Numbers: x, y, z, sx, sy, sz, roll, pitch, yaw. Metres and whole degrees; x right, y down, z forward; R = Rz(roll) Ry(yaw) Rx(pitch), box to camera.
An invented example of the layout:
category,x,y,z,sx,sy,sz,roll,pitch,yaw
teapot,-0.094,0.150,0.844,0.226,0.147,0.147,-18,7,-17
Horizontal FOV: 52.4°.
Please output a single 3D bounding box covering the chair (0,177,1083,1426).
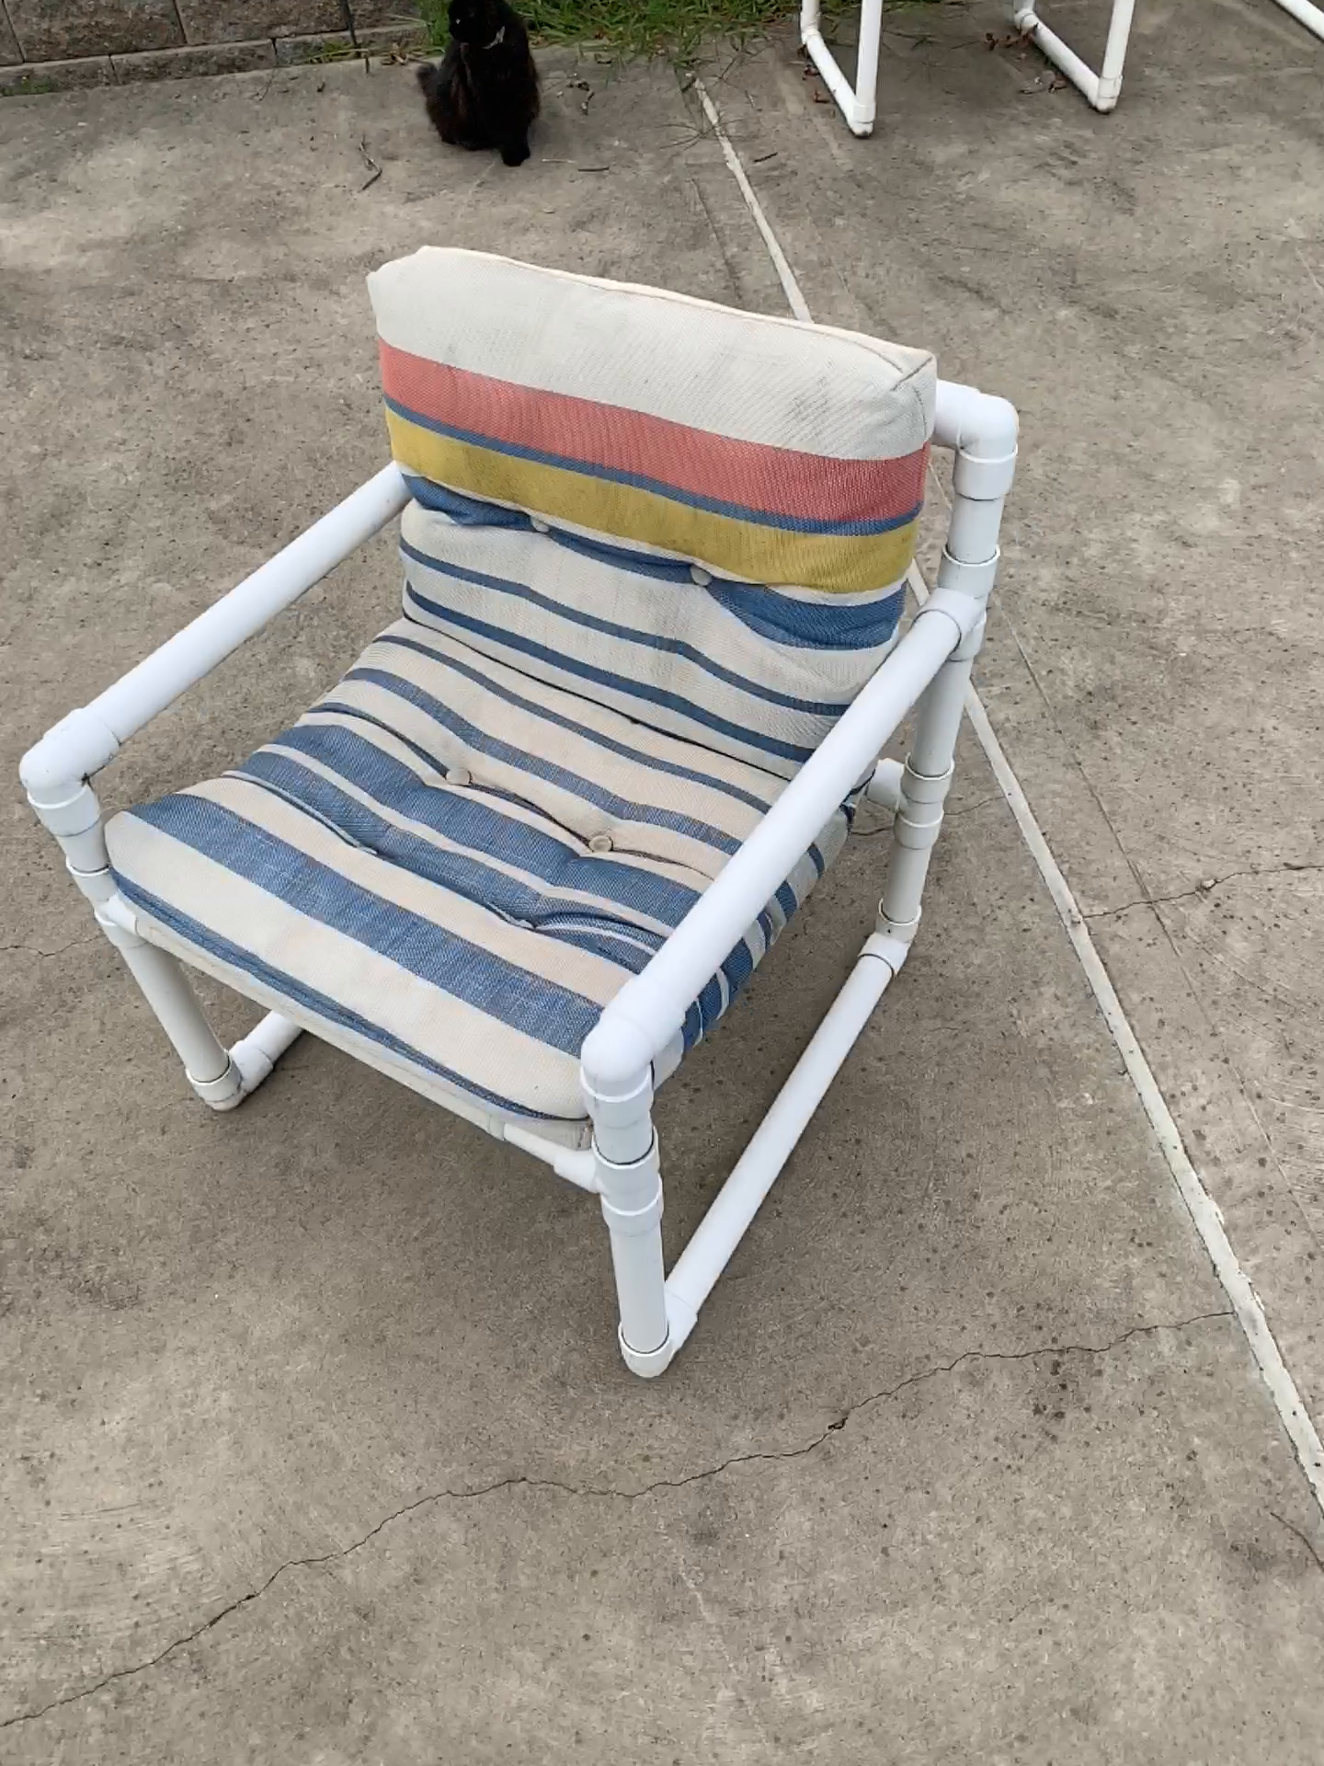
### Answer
category,x,y,z,sx,sy,sz,roll,pitch,yaw
chair,-0.123,-0.086,1.225,0.651,0.687,0.672,25,57,21
